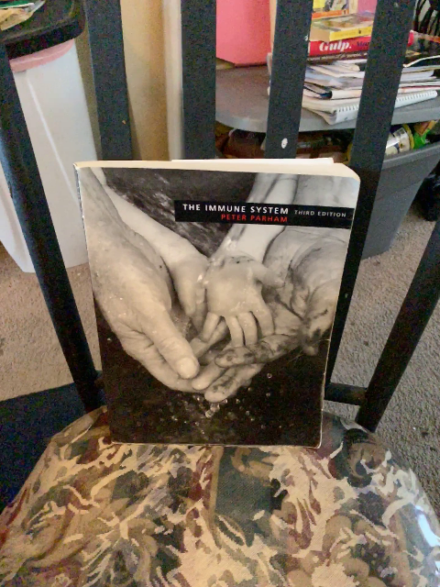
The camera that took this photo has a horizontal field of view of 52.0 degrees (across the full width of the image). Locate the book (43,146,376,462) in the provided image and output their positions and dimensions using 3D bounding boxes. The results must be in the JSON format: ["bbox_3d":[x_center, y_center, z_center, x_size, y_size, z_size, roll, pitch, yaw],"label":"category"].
[{"bbox_3d":[-0.006,0.021,0.375,0.220,0.269,0.040,1,27,4],"label":"book"}]
